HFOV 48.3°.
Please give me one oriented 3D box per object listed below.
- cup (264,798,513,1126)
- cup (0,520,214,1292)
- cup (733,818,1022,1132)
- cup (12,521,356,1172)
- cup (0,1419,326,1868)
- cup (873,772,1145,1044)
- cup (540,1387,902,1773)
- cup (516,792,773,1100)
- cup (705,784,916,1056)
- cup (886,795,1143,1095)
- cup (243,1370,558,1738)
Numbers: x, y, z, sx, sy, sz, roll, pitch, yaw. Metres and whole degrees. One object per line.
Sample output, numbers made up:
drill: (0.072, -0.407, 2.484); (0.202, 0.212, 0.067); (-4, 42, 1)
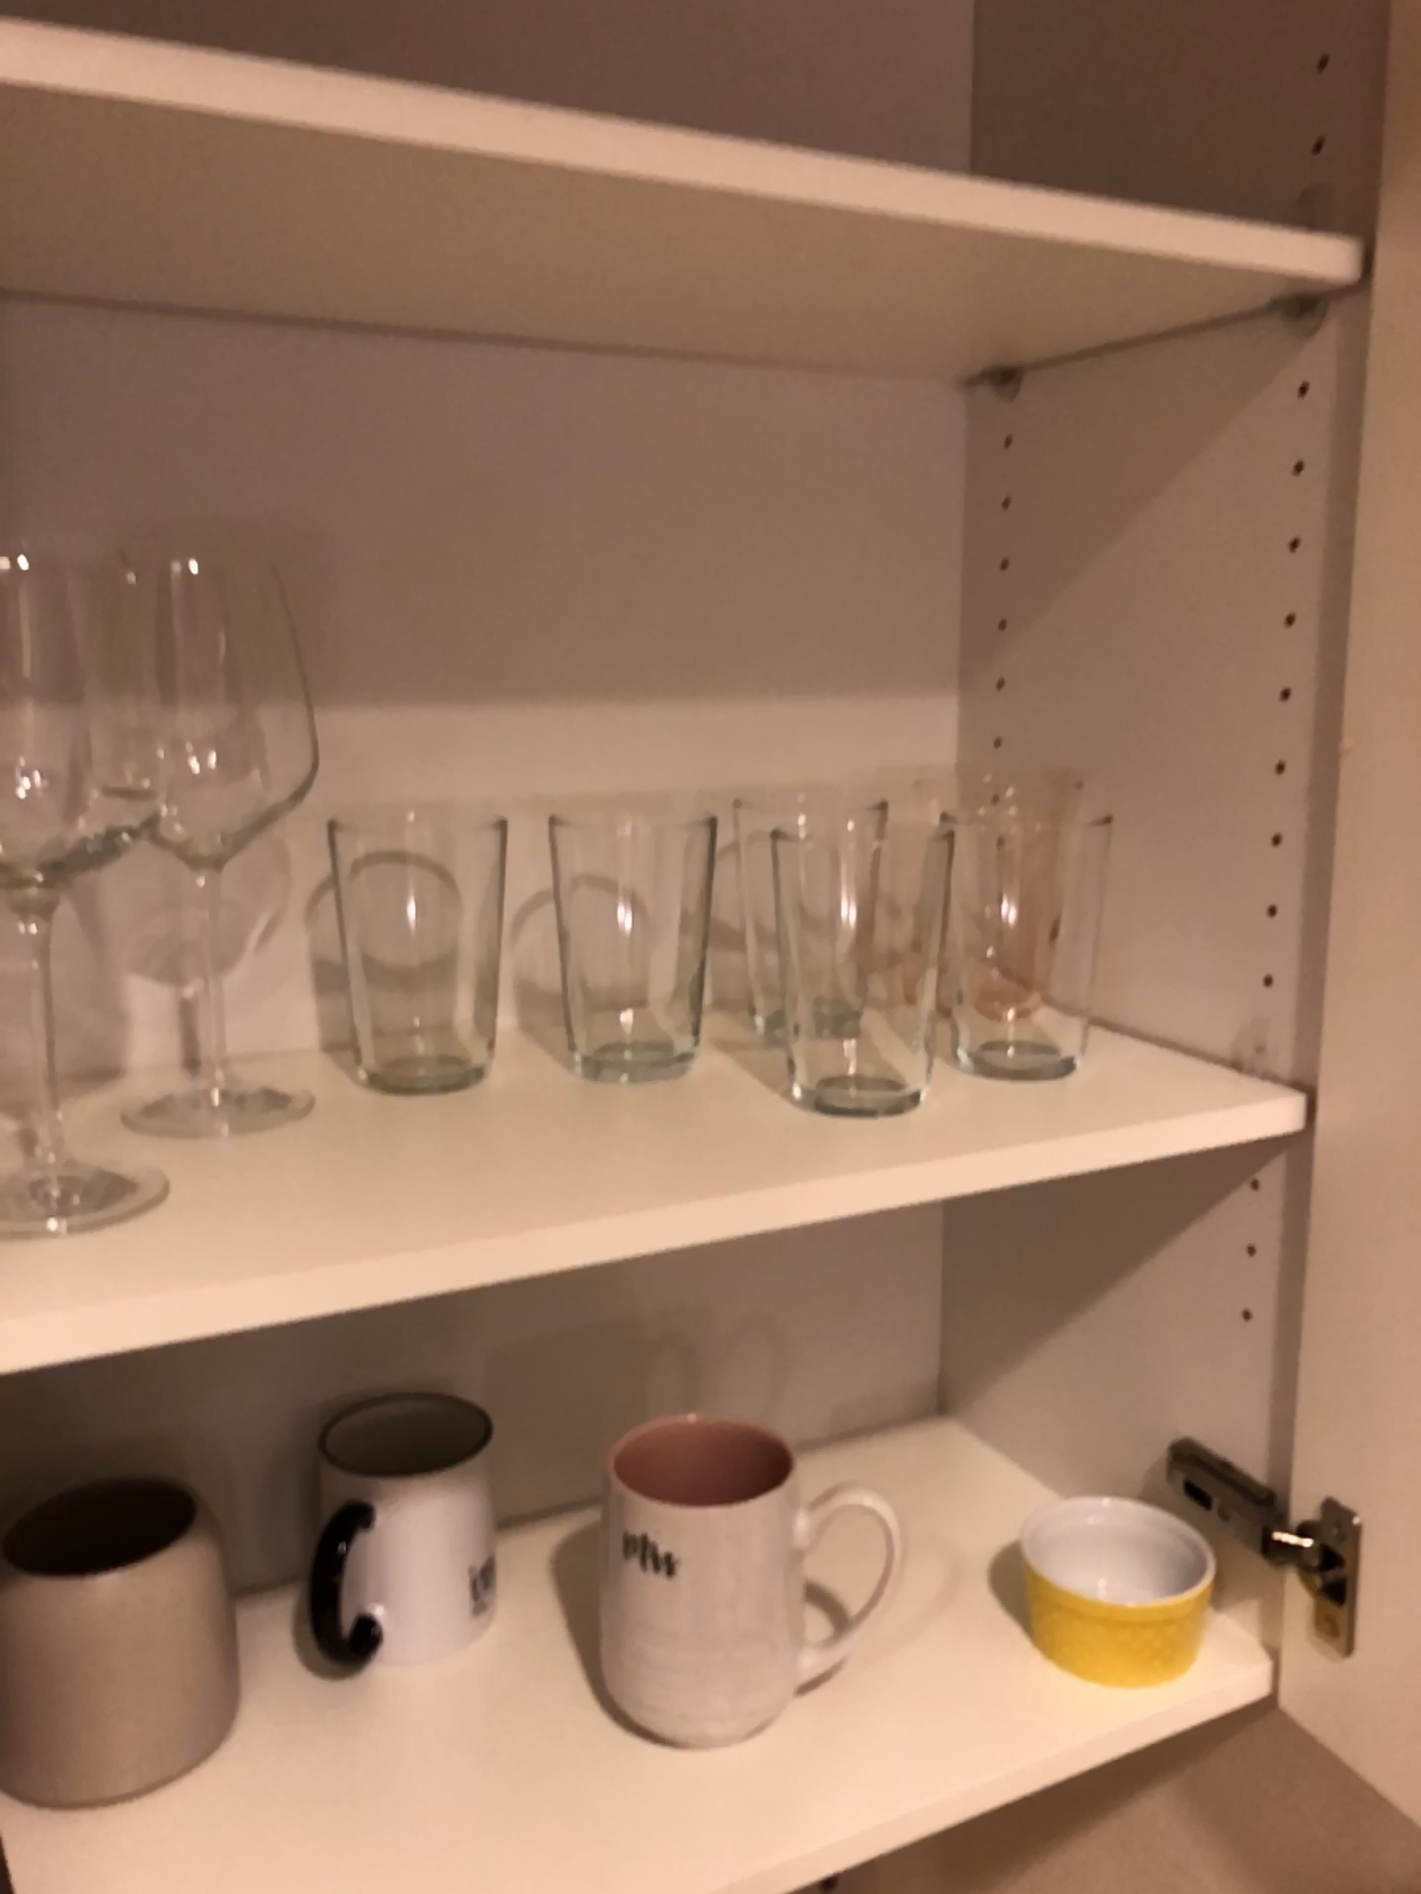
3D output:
cup: (-0.148, 0.002, 0.727); (0.080, 0.130, 0.090); (-6, 12, -32)
cup: (-0.255, -0.020, 0.574); (0.110, 0.249, 0.090); (-6, 12, -32)
cup: (0.068, 0.007, 0.664); (0.080, 0.110, 0.090); (-6, 12, -32)
cup: (-0.230, -0.048, 0.696); (0.110, 0.259, 0.090); (-6, 12, -32)
cup: (-0.252, 0.282, 0.667); (0.140, 0.090, 0.110); (8, 13, 38)
cup: (0.151, -0.025, 0.813); (0.090, 0.120, 0.100); (-6, 12, -31)
cup: (0.009, 0.262, 0.668); (0.140, 0.110, 0.090); (1, 10, 8)
cup: (-0.031, -0.005, 0.718); (0.080, 0.120, 0.090); (-6, 12, -32)
cup: (0.049, -0.017, 0.792); (0.070, 0.120, 0.080); (-6, 12, -32)
cup: (0.138, -0.005, 0.729); (0.080, 0.120, 0.080); (0, 10, 0)
cup: (-0.137, 0.274, 0.735); (0.090, 0.090, 0.140); (2, 11, 13)
